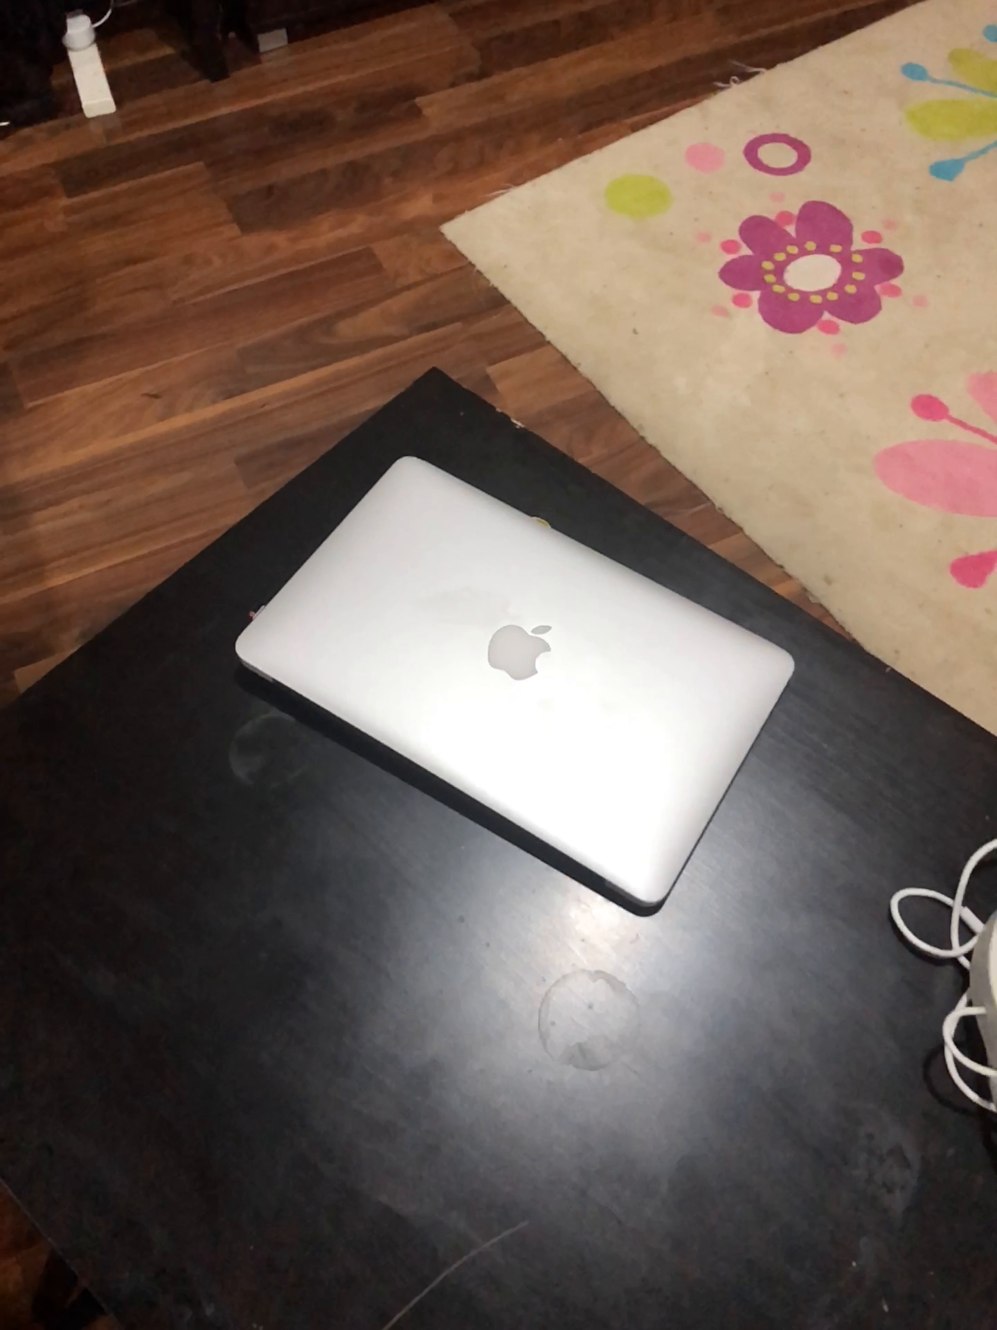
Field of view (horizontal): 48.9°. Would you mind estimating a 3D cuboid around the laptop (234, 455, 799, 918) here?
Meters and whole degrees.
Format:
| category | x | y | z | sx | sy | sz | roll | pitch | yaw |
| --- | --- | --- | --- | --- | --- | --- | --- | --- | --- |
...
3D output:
| category | x | y | z | sx | sy | sz | roll | pitch | yaw |
| --- | --- | --- | --- | --- | --- | --- | --- | --- | --- |
| laptop | 0.012 | 0.001 | 0.700 | 0.300 | 0.011 | 0.190 | 30 | 68 | 12 |
